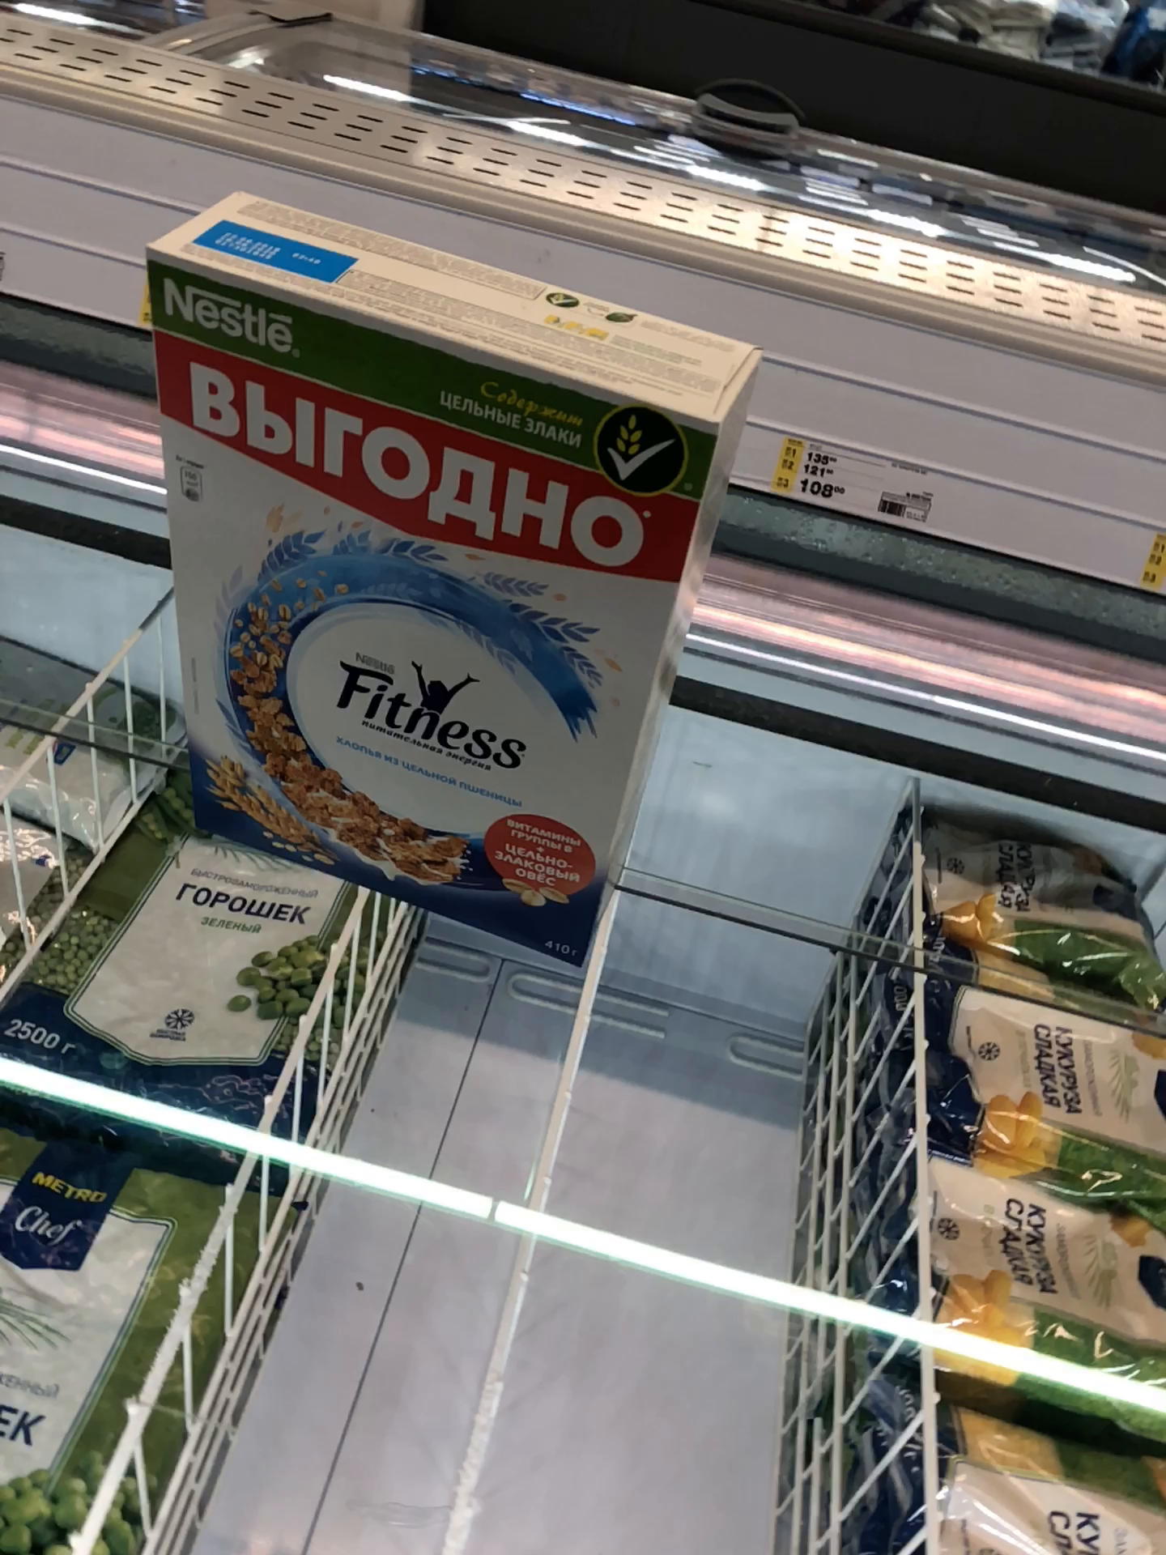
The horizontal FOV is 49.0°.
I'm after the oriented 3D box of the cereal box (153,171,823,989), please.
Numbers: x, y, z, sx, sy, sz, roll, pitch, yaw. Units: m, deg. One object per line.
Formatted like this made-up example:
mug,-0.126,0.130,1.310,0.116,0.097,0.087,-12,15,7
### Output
cereal box,-0.047,-0.057,0.488,0.200,0.268,0.060,20,44,8
